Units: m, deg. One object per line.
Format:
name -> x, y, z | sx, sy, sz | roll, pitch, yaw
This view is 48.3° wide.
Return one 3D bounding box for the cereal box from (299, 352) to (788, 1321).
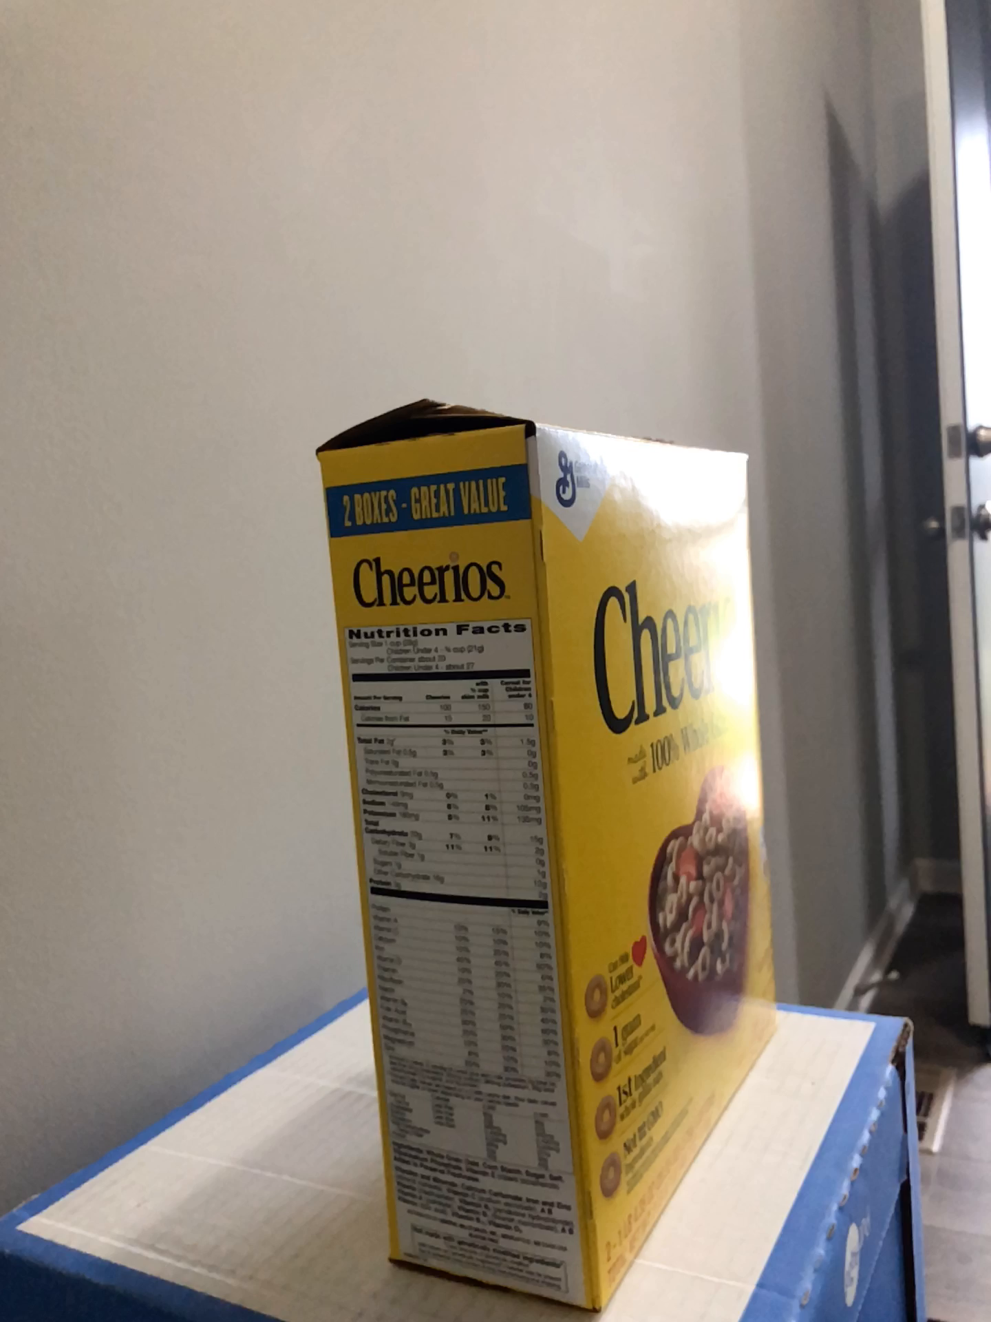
cereal box -> 0.042, 0.048, 0.471 | 0.090, 0.310, 0.240 | -2, 5, 29
